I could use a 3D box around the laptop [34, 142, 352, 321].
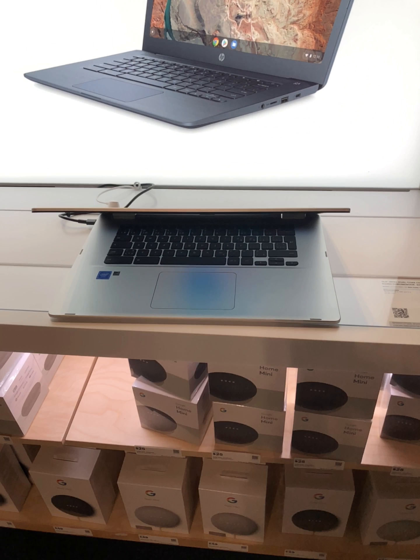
[{"bbox_3d":[-0.015,-0.075,0.604,0.341,0.113,0.222,1,40,8],"label":"laptop"}]
